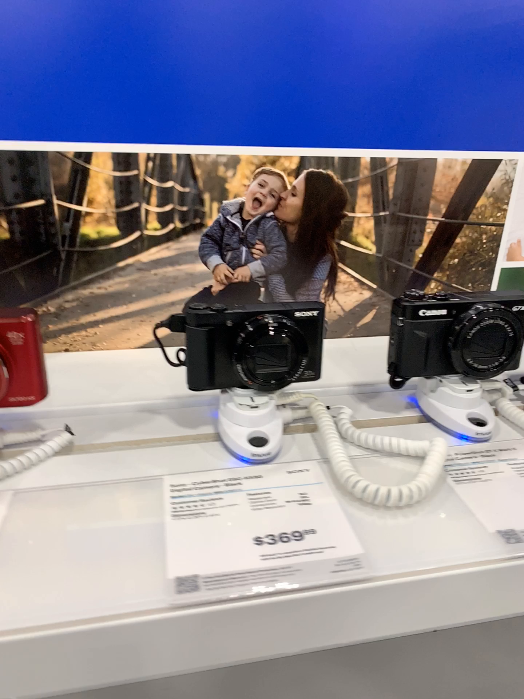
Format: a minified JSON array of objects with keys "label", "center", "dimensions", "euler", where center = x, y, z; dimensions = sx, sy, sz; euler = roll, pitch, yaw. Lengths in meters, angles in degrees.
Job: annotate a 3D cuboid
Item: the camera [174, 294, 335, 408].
[{"label":"camera","center":[-0.006,0.000,0.393],"dimensions":[0.110,0.070,0.030],"euler":[-4,21,-11]}]
